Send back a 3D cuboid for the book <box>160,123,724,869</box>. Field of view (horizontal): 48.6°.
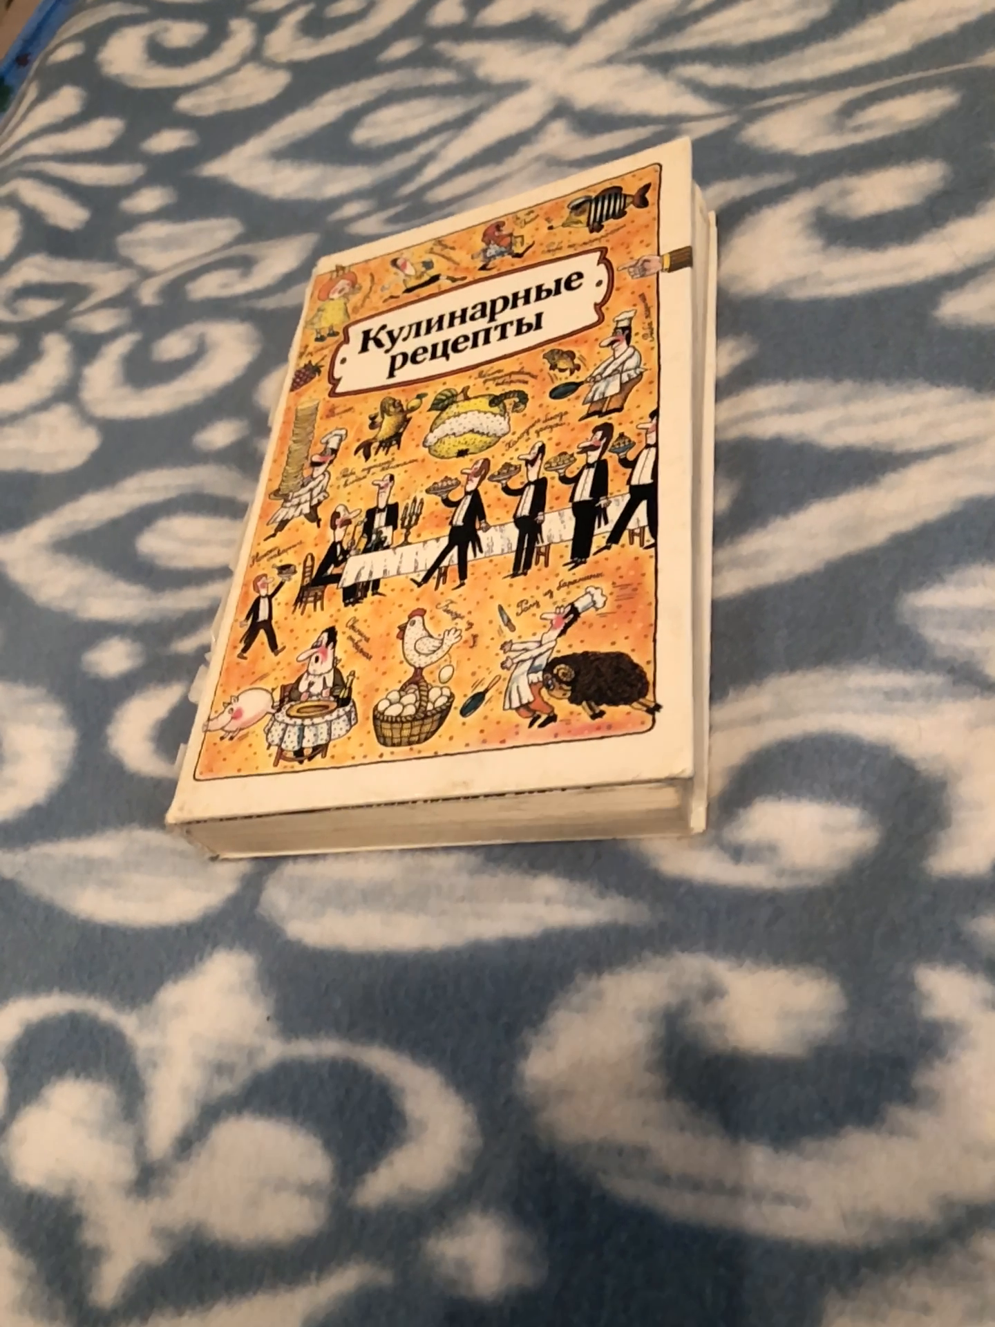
[{"bbox_3d":[-0.009,-0.055,0.328,0.142,0.032,0.220,-9,57,24],"label":"book"}]
